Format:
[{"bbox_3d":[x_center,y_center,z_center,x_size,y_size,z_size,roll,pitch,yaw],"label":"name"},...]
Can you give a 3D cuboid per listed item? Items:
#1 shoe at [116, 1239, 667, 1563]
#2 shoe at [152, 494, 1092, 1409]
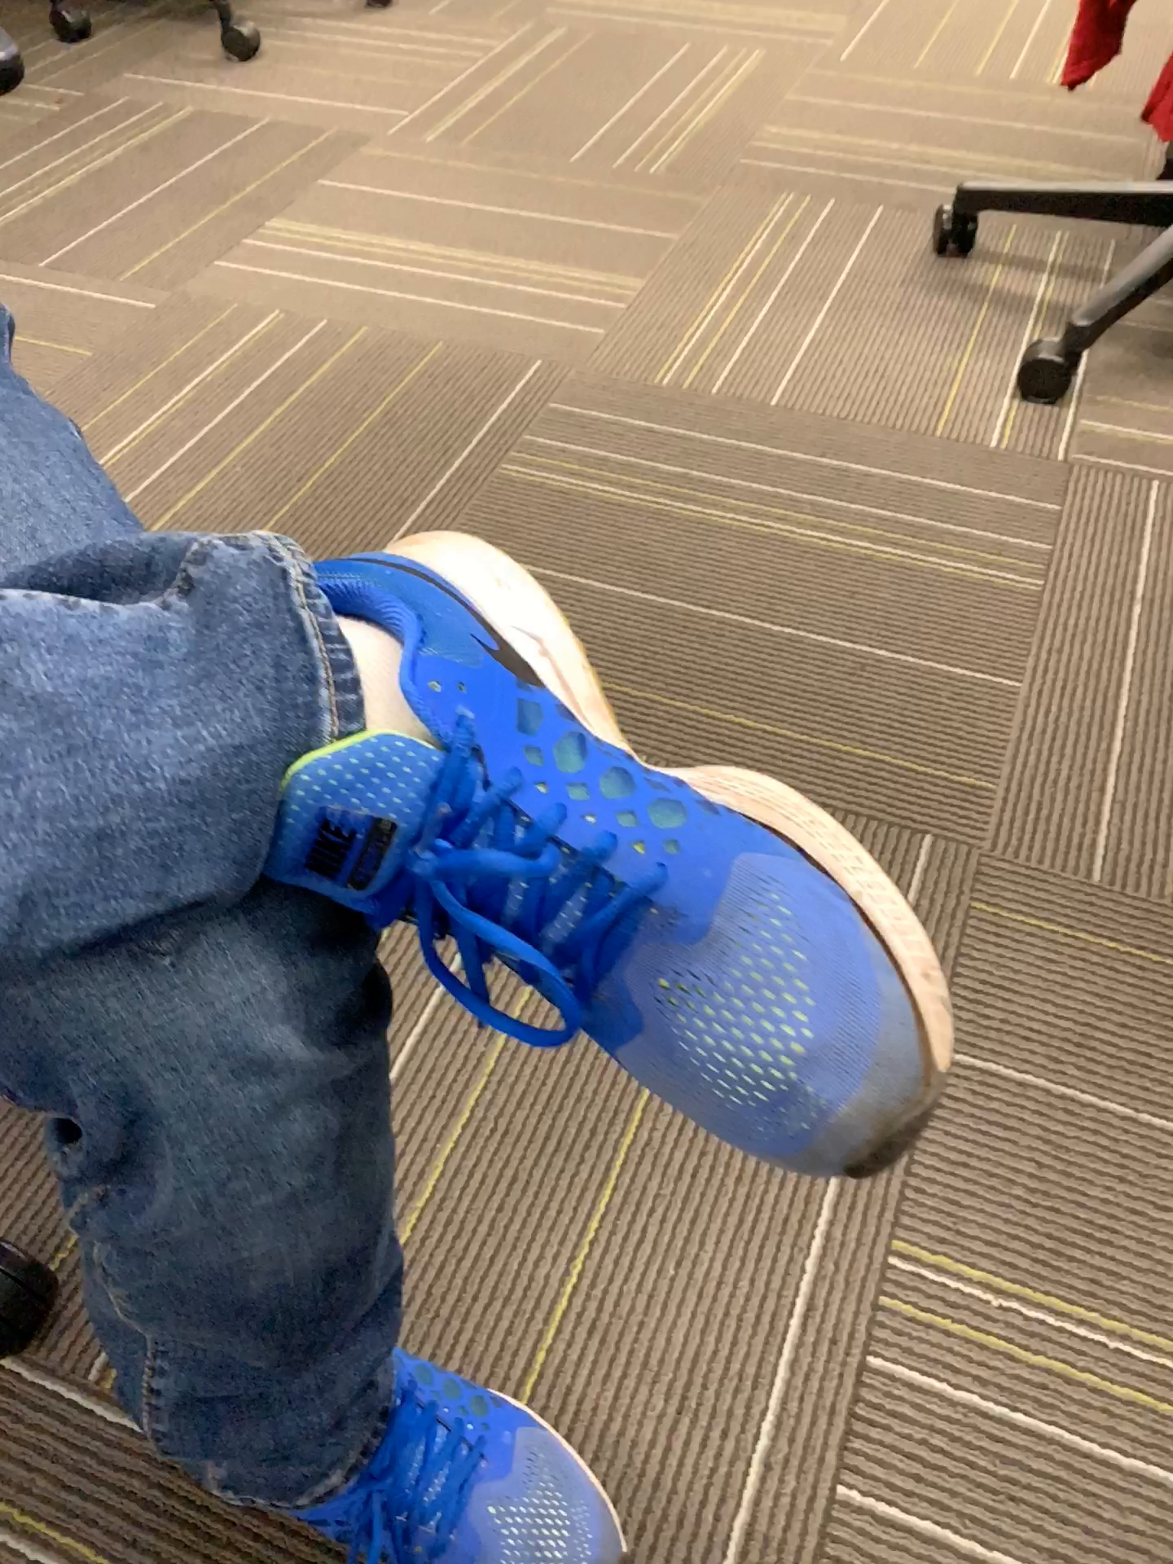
[{"bbox_3d":[-0.107,0.379,0.678,0.284,0.086,0.101,18,50,17],"label":"shoe"},{"bbox_3d":[-0.013,0.022,0.375,0.103,0.117,0.276,-14,43,-45],"label":"shoe"}]
